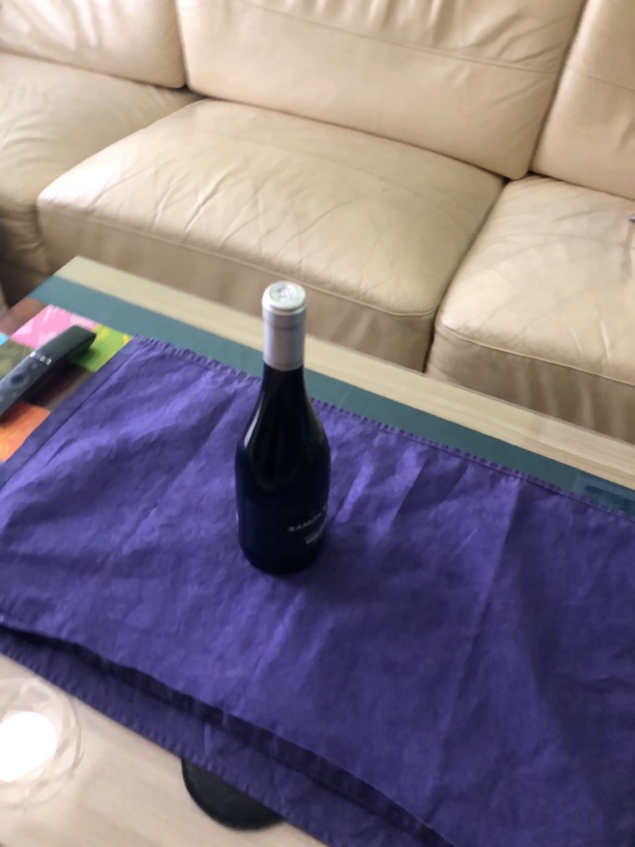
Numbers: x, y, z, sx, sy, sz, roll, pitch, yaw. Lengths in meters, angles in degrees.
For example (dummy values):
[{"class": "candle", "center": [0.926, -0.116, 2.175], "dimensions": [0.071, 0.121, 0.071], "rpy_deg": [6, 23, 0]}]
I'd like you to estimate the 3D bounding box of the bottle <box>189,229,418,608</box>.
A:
[{"class": "bottle", "center": [-0.015, 0.010, 0.527], "dimensions": [0.100, 0.269, 0.100], "rpy_deg": [2, 47, -2]}]
